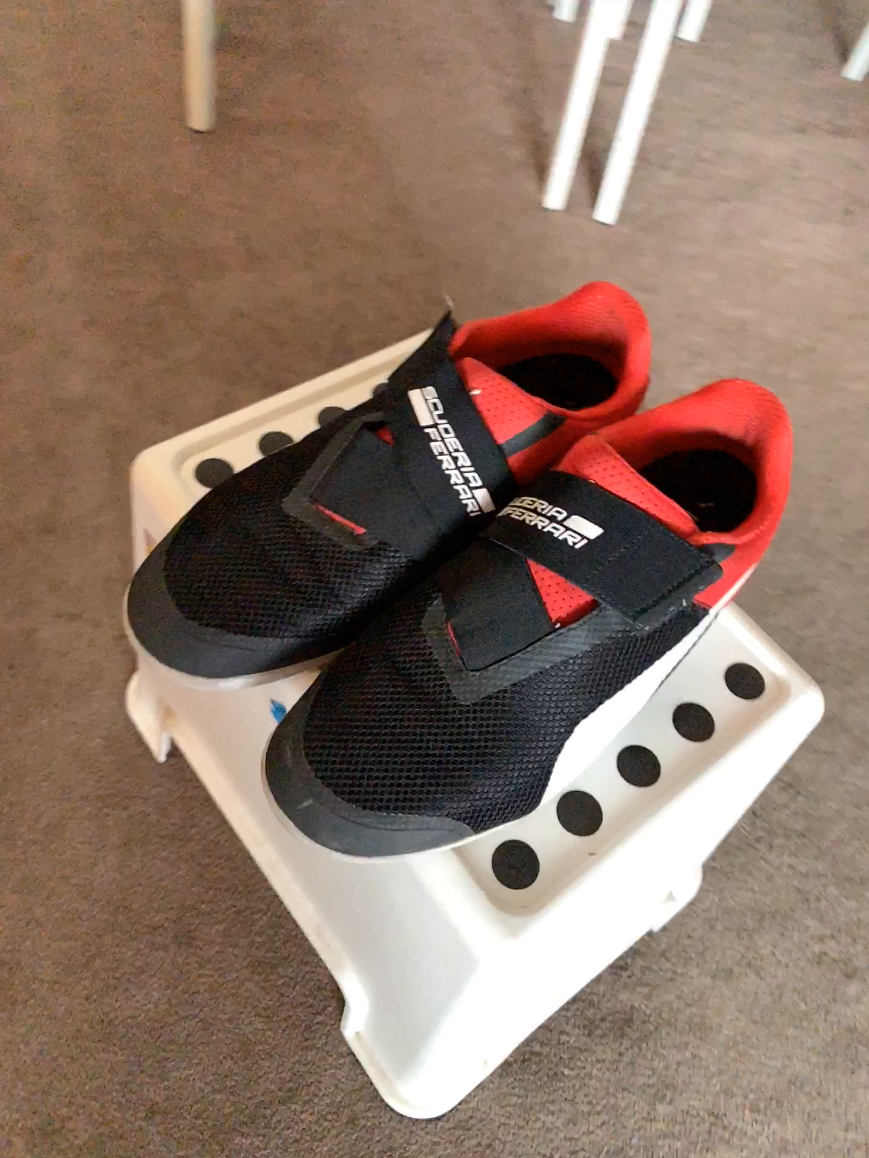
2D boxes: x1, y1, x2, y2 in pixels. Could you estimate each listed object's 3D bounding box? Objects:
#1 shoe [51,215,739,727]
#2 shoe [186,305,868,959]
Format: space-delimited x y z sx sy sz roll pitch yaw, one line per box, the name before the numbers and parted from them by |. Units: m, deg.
shoe | -0.006 -0.064 0.430 0.301 0.089 0.100 -30 66 -25
shoe | 0.060 0.005 0.381 0.301 0.089 0.110 -33 68 -26
